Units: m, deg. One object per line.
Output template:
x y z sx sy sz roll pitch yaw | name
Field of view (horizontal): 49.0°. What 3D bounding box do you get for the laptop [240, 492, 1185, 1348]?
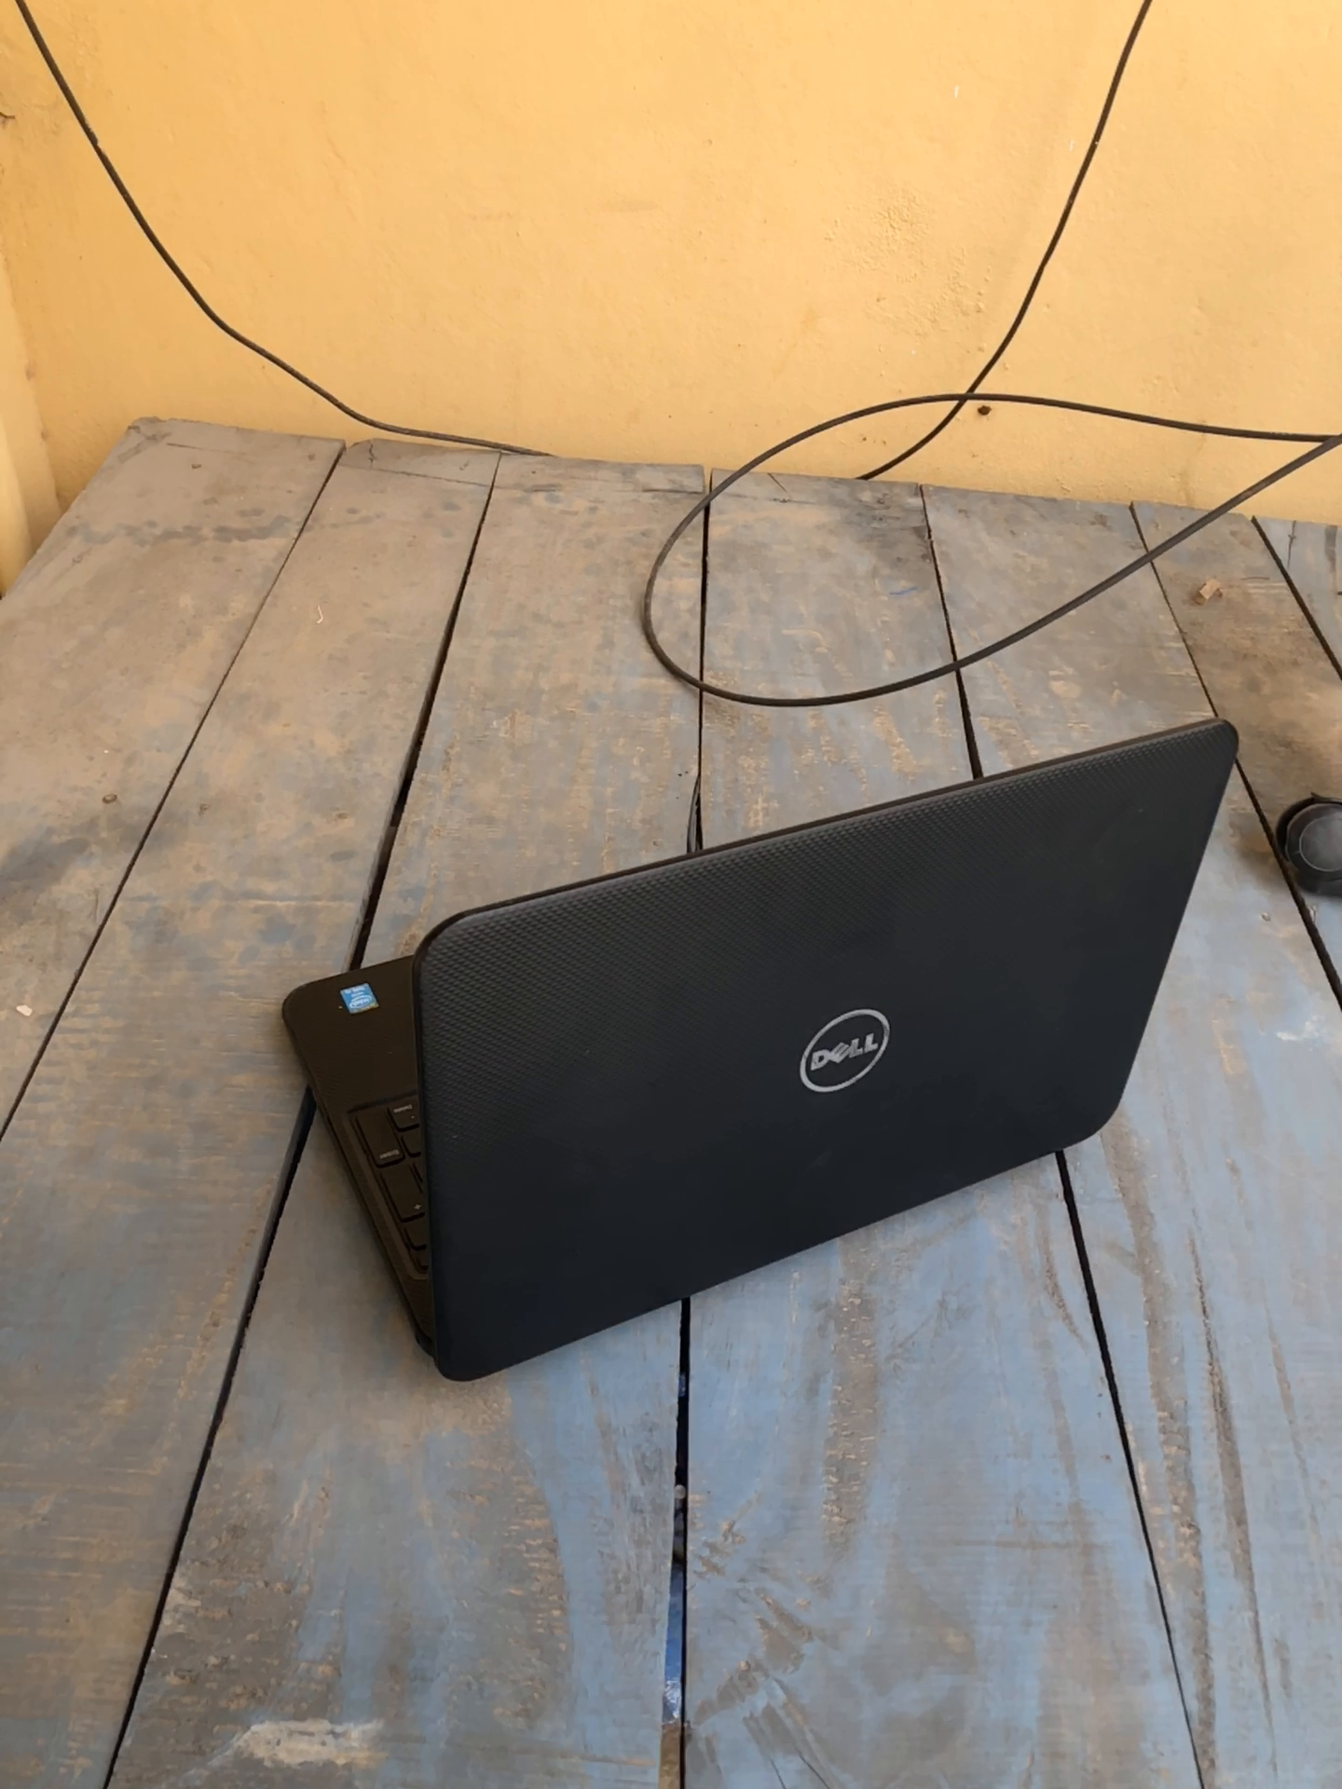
0.009 -0.007 0.693 0.341 0.234 0.226 -14 44 -22 | laptop
